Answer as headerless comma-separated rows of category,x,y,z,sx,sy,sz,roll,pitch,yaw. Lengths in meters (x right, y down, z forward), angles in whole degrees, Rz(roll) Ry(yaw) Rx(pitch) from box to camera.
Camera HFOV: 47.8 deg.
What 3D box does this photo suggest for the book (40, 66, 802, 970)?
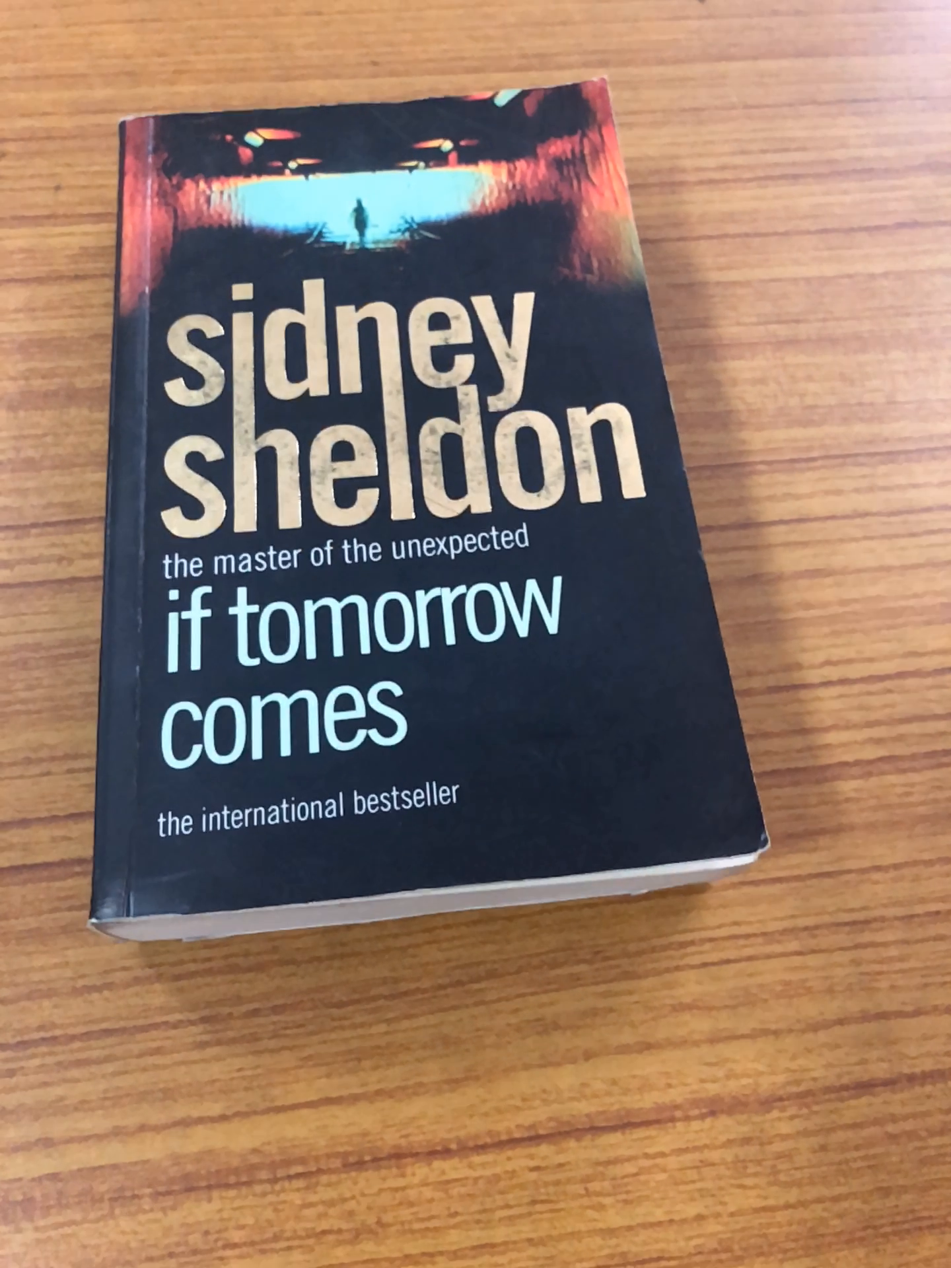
book,-0.016,-0.033,0.211,0.114,0.034,0.176,-5,66,-4
